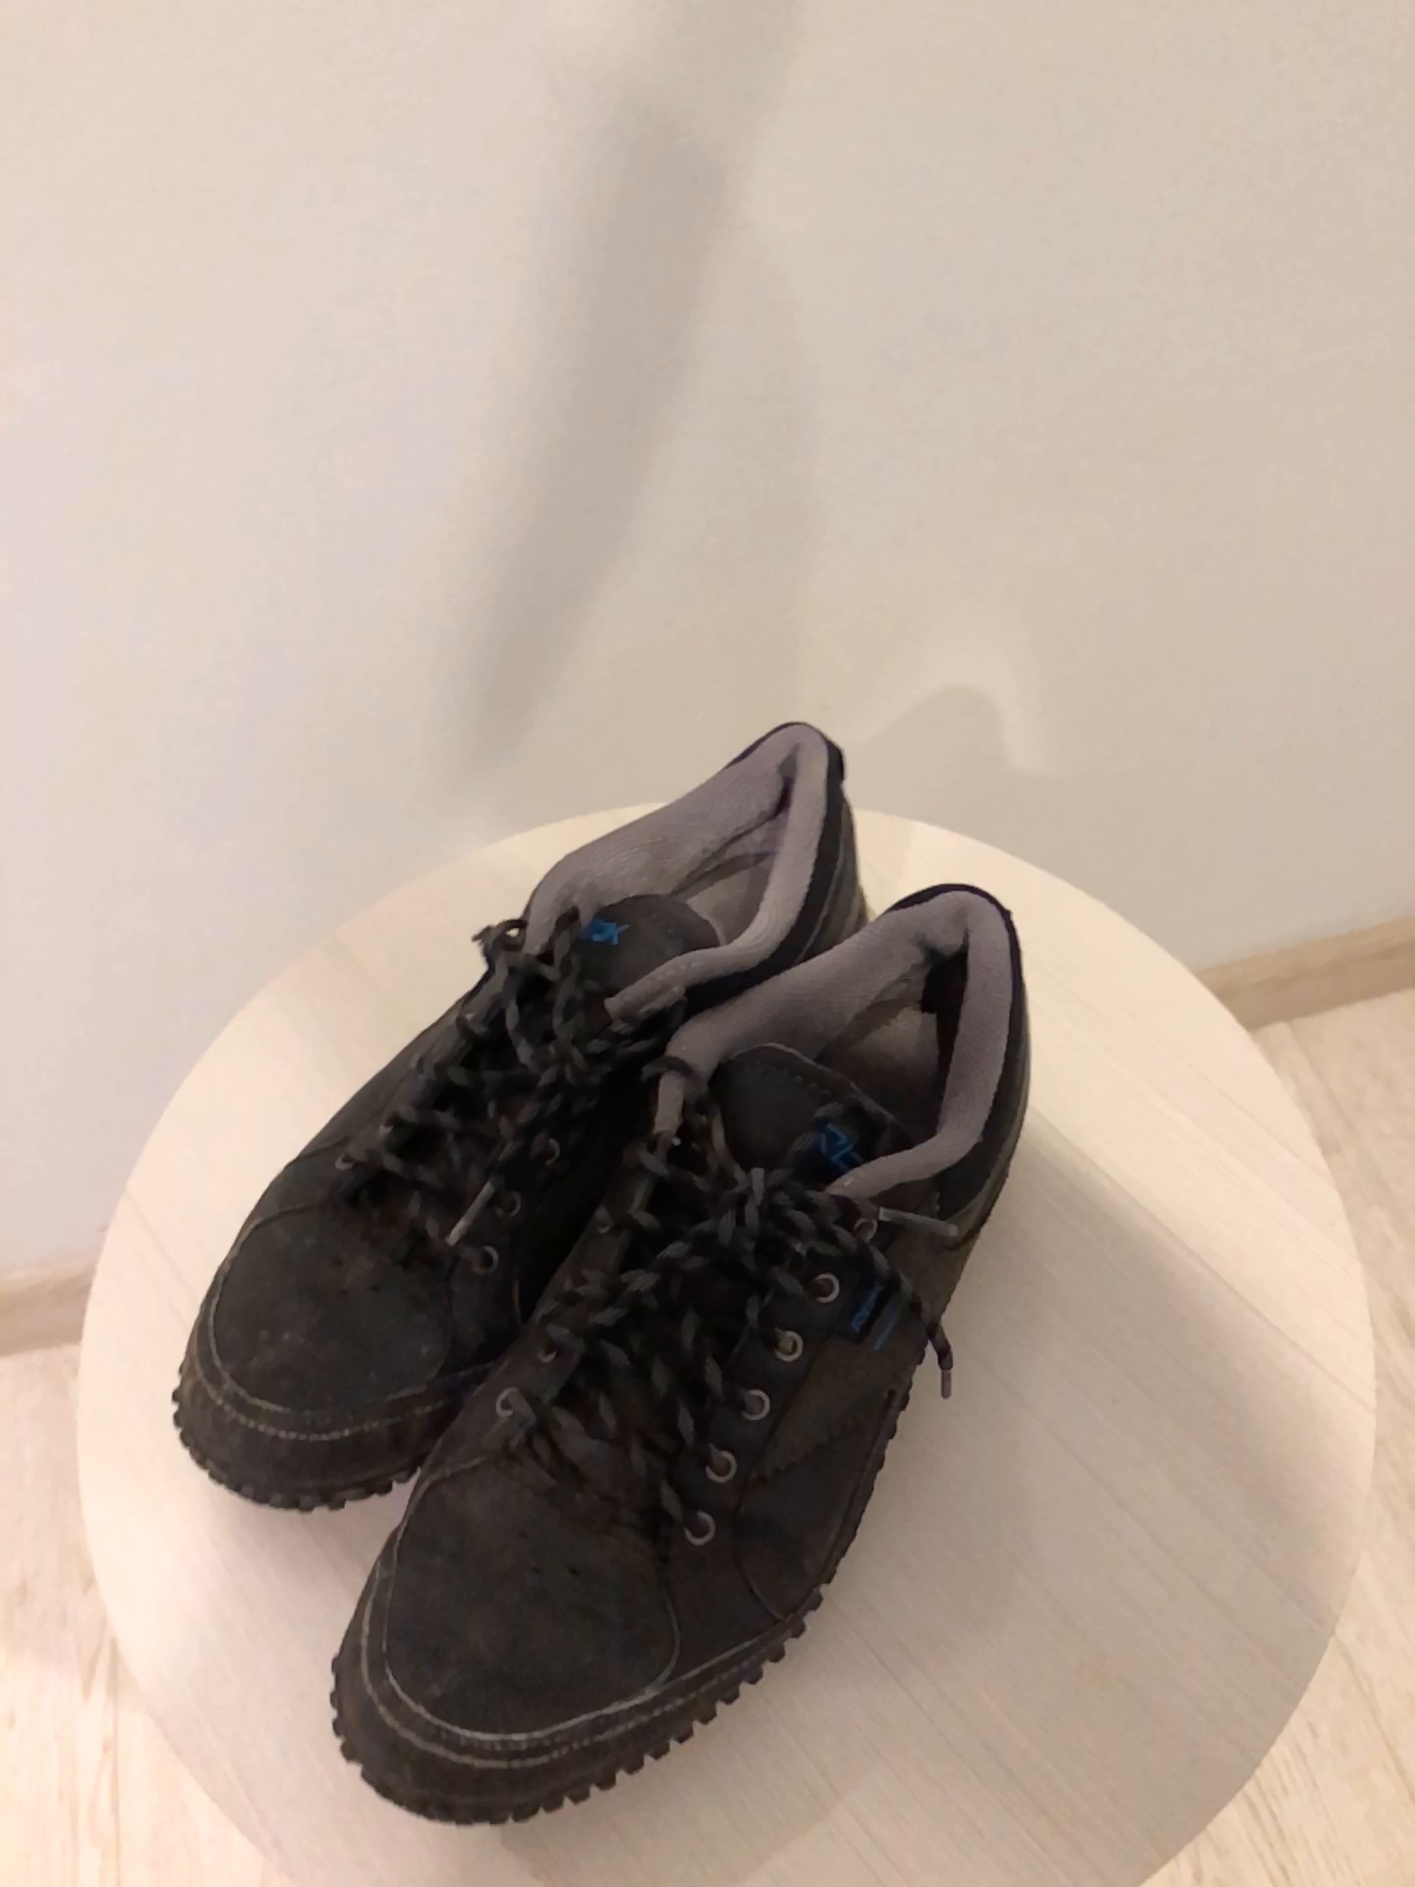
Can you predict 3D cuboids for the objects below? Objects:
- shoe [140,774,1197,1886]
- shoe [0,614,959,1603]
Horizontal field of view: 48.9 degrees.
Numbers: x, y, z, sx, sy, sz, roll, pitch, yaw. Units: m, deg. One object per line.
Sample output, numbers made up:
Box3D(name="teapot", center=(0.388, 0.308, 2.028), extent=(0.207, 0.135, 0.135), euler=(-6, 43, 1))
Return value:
Box3D(name="shoe", center=(0.008, 0.093, 0.406), extent=(0.110, 0.099, 0.271), euler=(28, 58, 24))
Box3D(name="shoe", center=(-0.053, 0.033, 0.457), extent=(0.110, 0.099, 0.271), euler=(32, 59, 26))
